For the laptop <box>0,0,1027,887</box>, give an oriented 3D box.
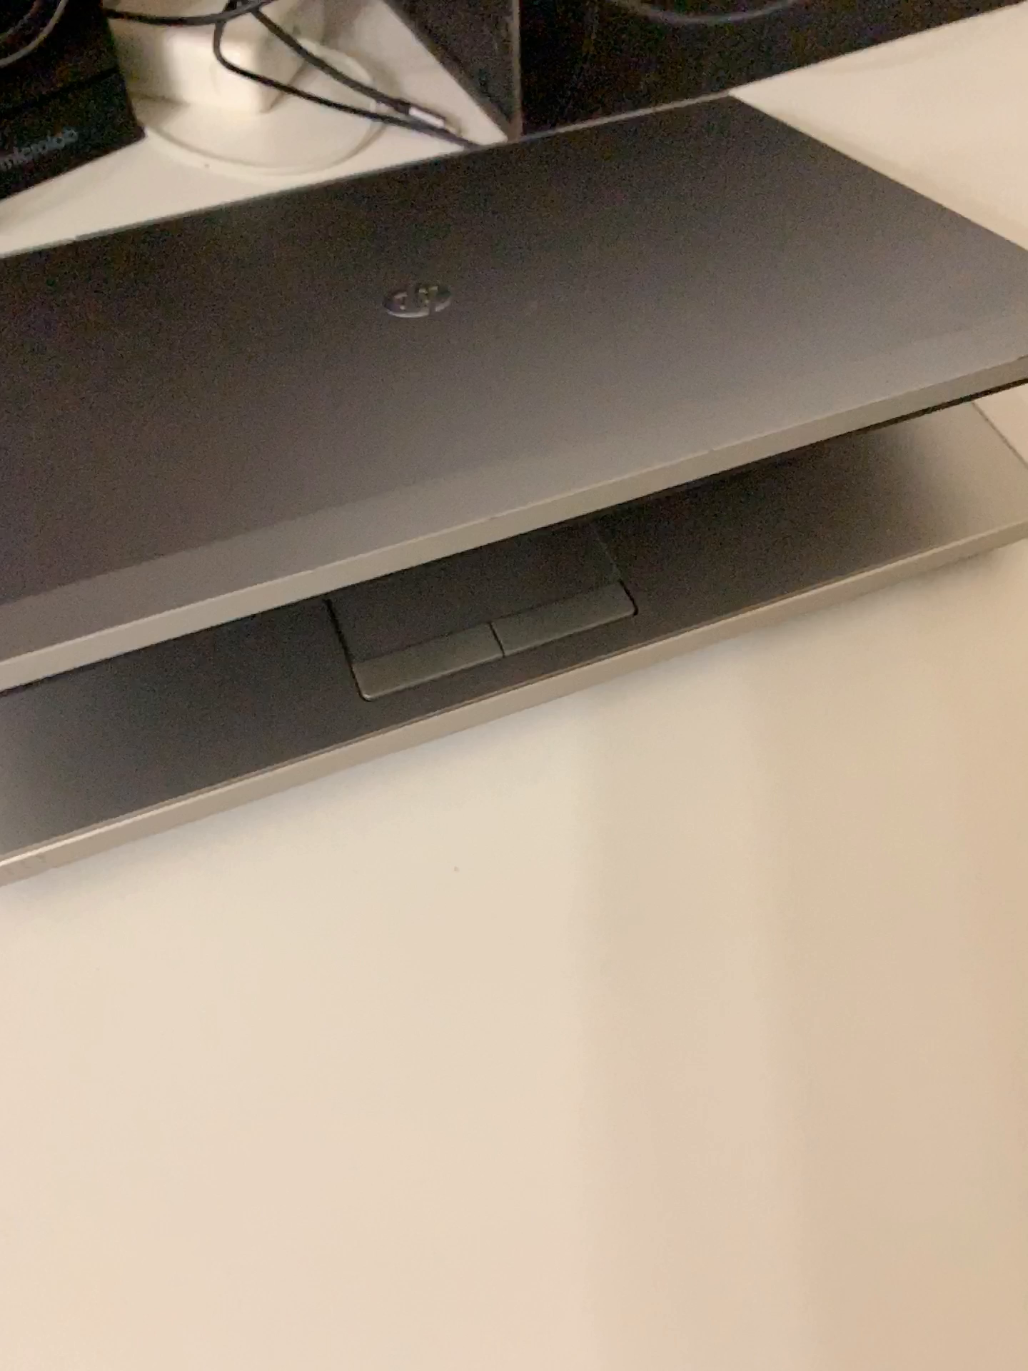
[{"bbox_3d":[-0.024,-0.097,0.298,0.303,0.042,0.200,-19,62,-12],"label":"laptop"}]
